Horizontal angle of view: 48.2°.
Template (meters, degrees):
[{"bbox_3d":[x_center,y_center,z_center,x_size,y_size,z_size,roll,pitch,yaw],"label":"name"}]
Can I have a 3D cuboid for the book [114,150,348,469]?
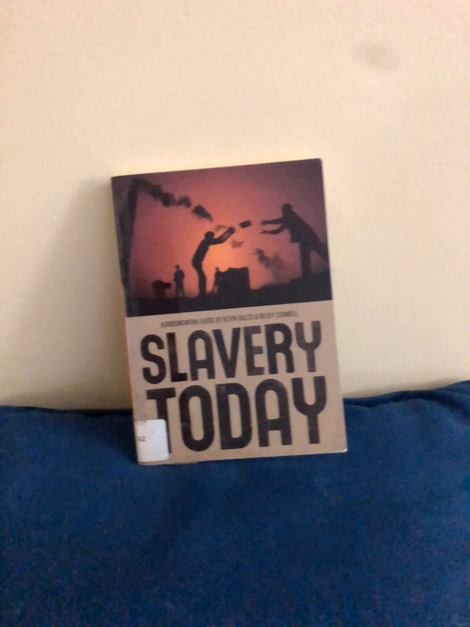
[{"bbox_3d":[-0.002,-0.001,0.330,0.127,0.182,0.028,-5,0,3],"label":"book"}]
